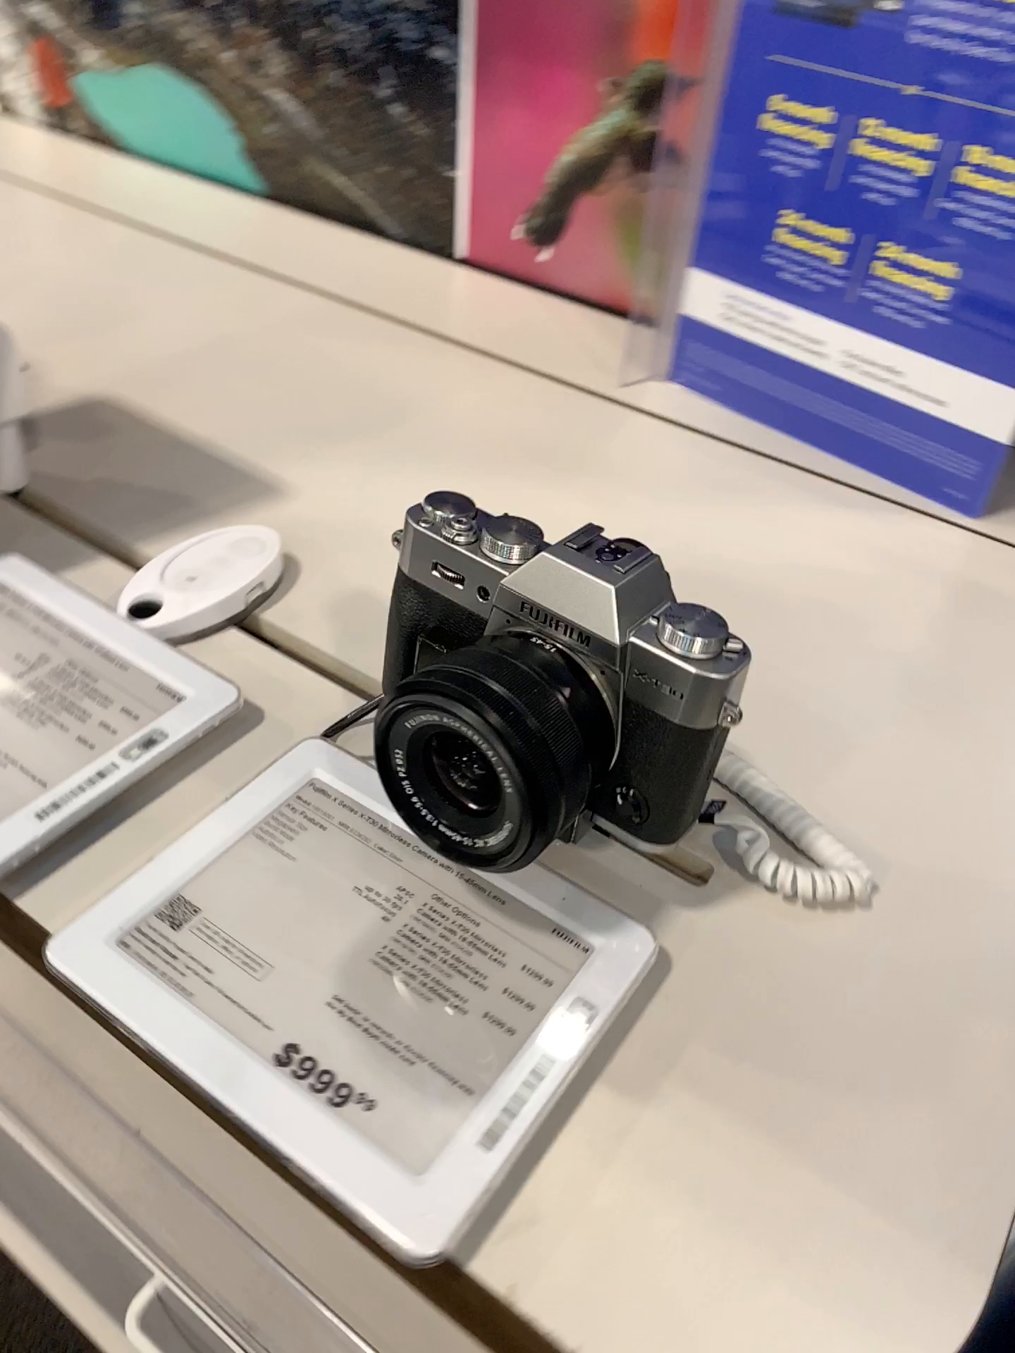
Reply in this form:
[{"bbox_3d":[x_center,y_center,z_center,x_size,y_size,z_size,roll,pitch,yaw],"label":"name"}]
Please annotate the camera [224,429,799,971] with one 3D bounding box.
[{"bbox_3d":[0.000,-0.001,0.323,0.130,0.080,0.100,28,47,25],"label":"camera"}]
